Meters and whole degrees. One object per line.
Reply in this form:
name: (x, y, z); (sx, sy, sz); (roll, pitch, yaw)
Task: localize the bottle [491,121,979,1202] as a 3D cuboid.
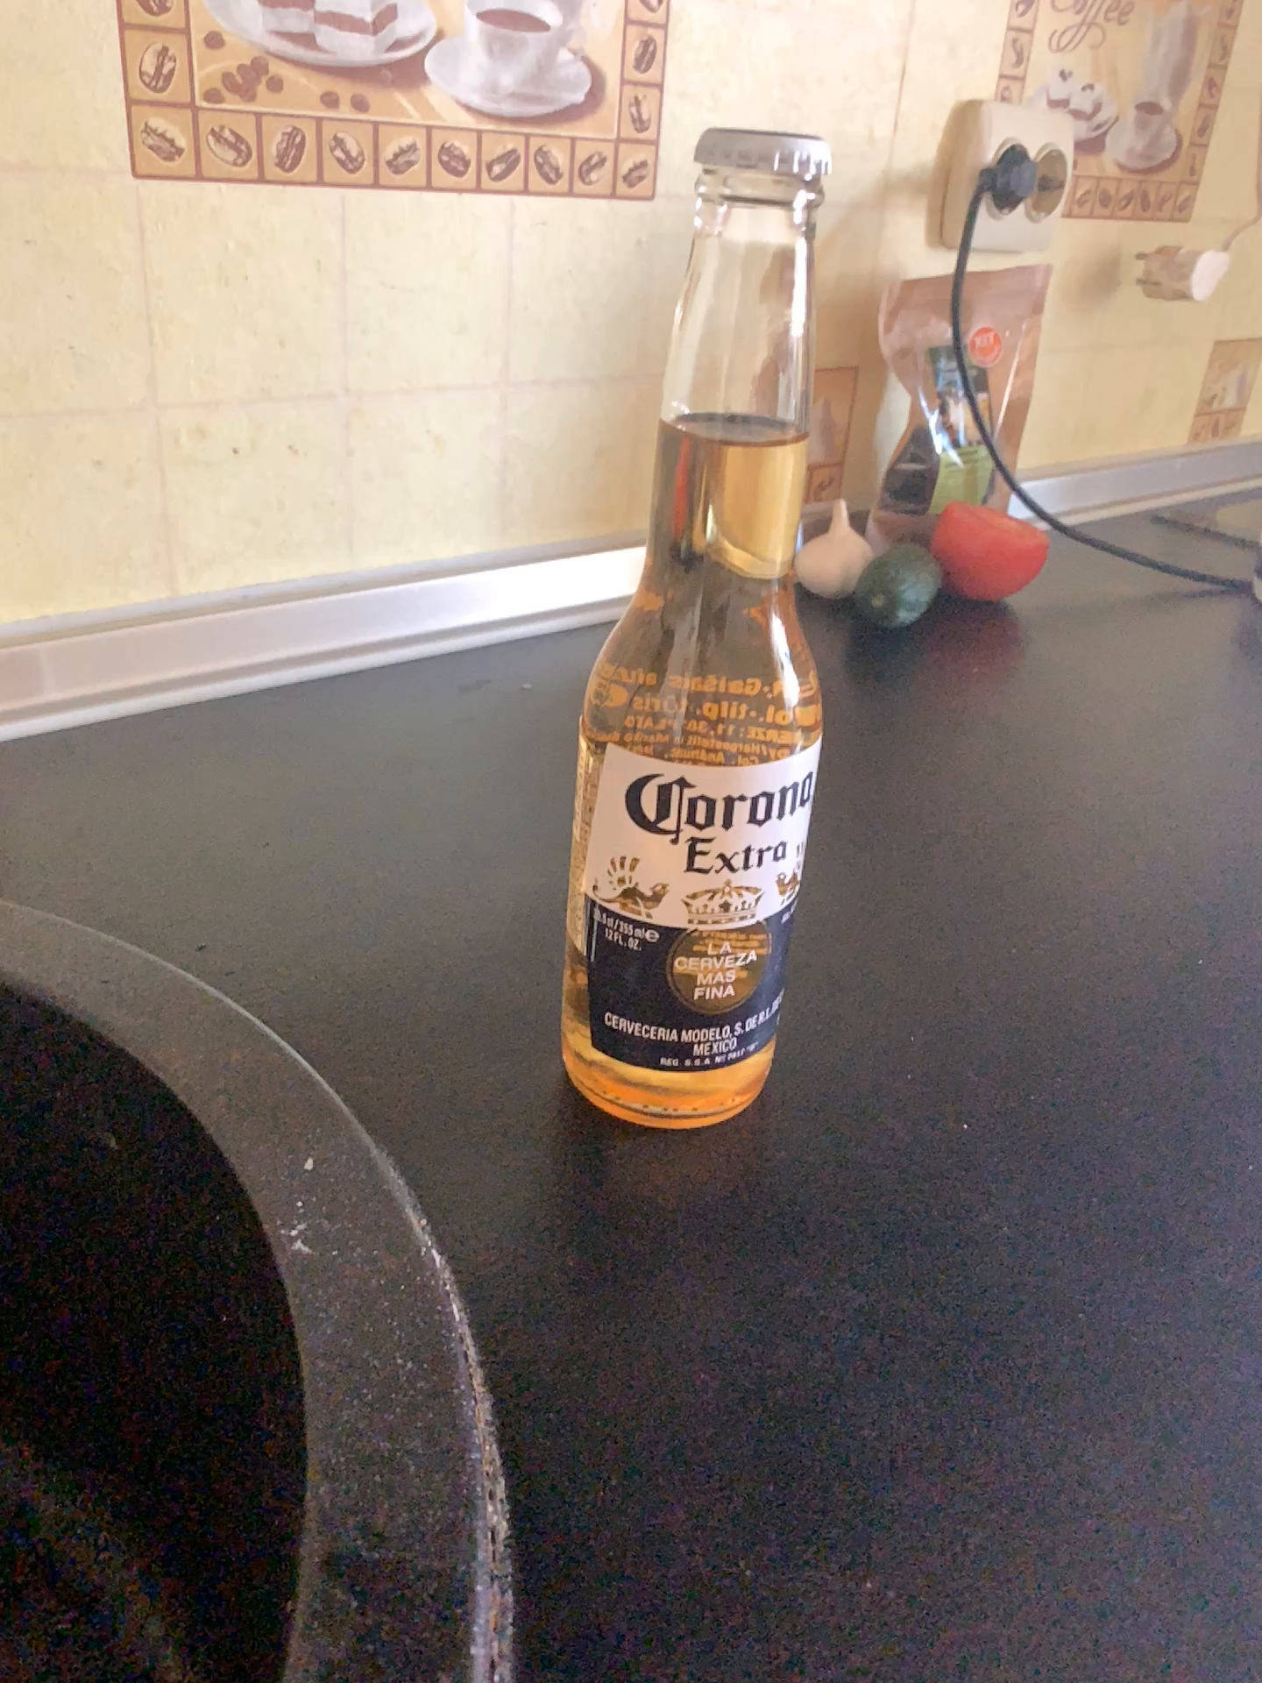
bottle: (0.012, -0.035, 0.326); (0.070, 0.249, 0.070); (4, 28, -2)
